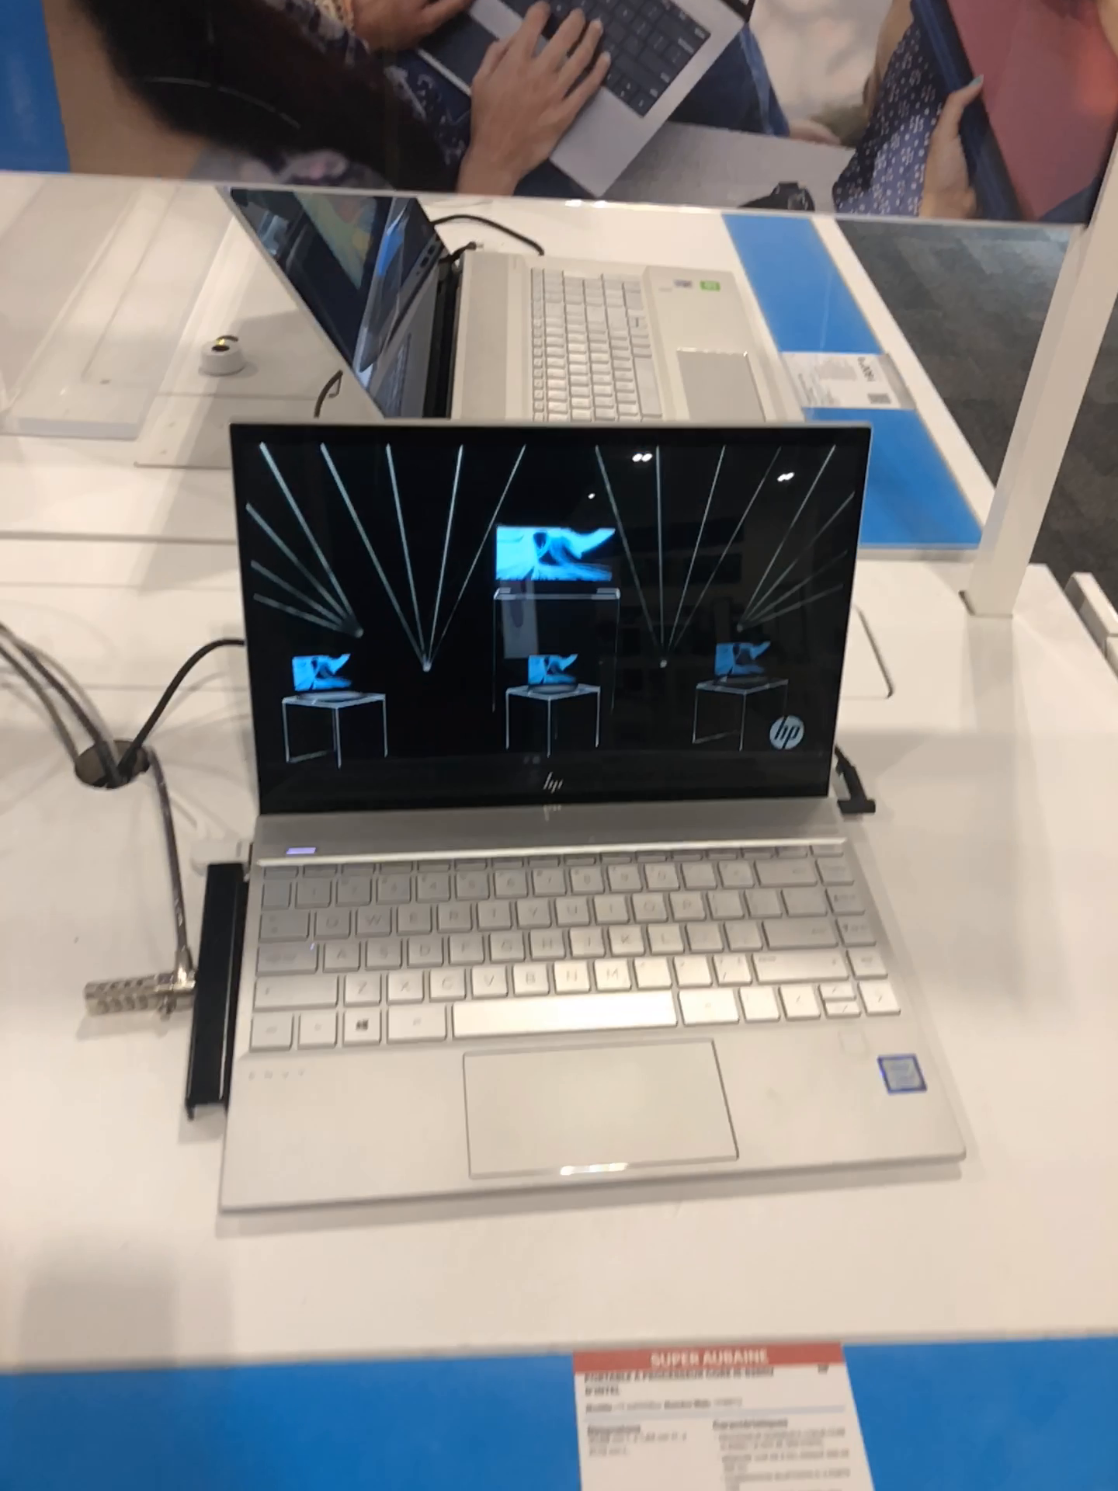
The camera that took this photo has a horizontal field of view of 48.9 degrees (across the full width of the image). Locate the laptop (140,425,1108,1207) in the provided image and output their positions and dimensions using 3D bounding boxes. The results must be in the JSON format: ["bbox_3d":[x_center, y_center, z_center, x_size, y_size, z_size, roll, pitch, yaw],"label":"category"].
[{"bbox_3d":[0.010,0.012,0.532,0.298,0.182,0.273,-2,43,-7],"label":"laptop"}]
